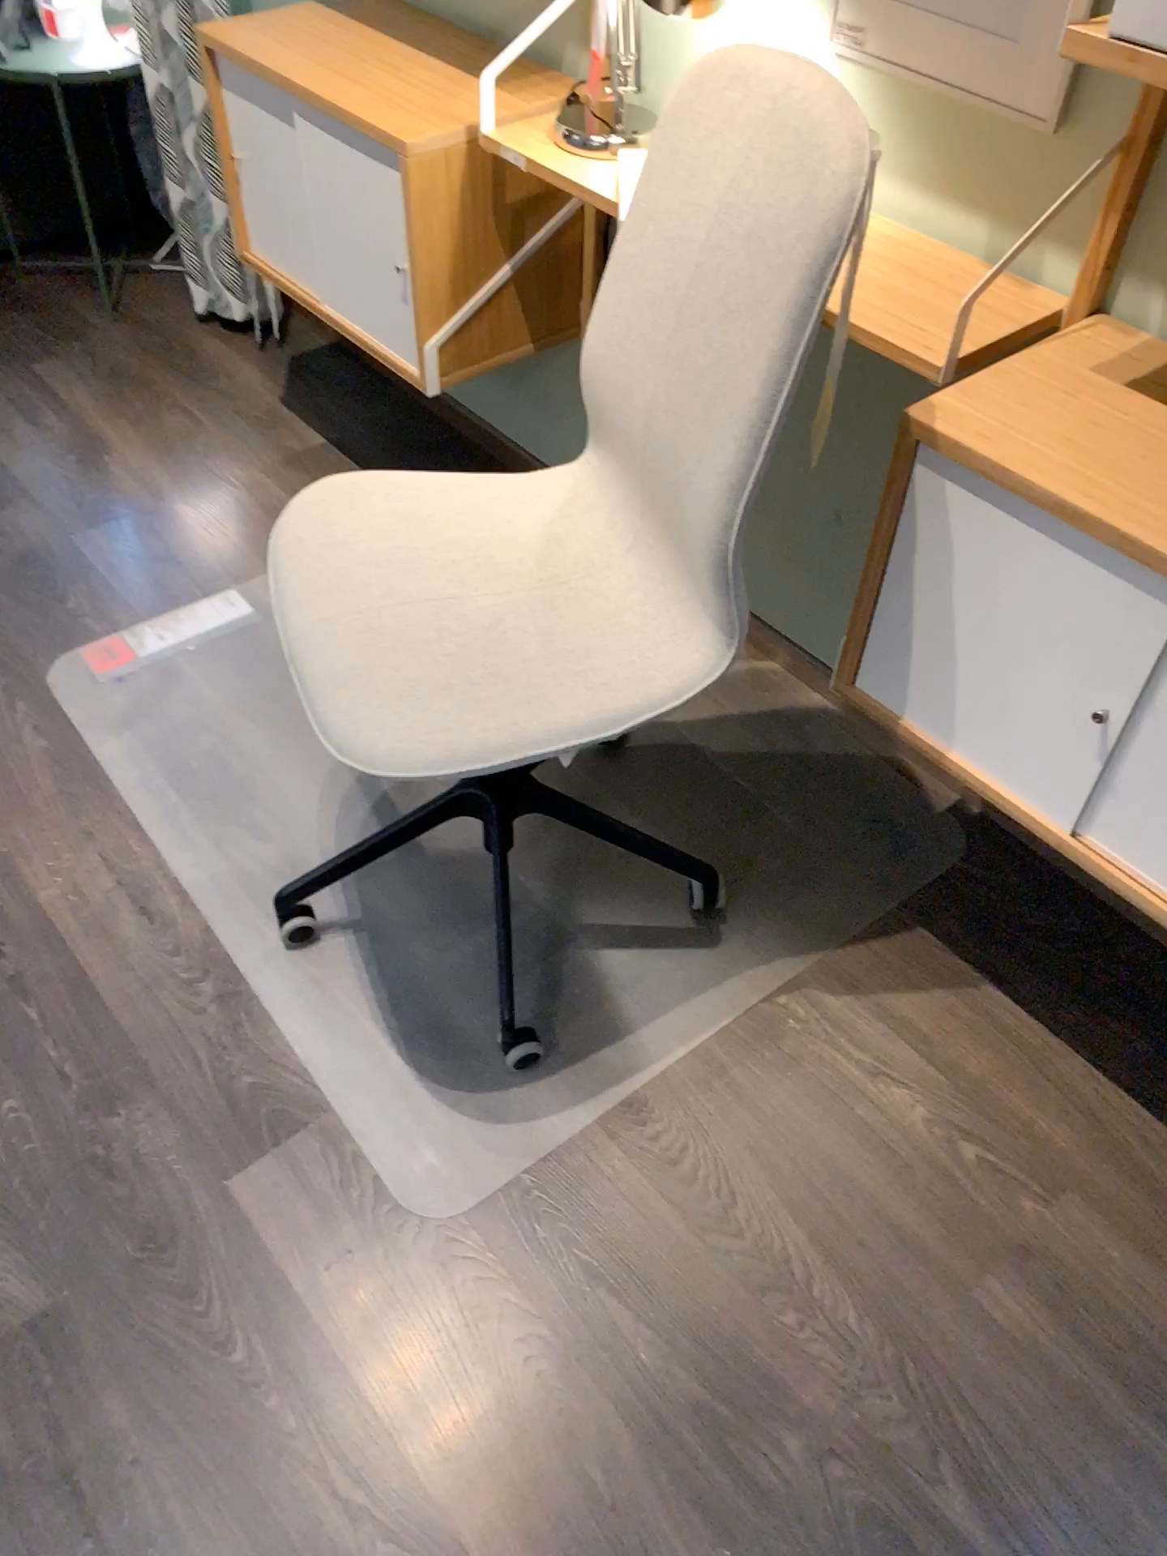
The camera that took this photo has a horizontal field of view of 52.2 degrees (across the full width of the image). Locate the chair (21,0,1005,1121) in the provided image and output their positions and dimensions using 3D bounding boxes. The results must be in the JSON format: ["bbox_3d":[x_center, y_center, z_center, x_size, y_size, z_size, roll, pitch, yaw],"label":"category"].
[{"bbox_3d":[-0.123,-0.221,1.287,0.620,0.965,0.623,-13,49,-14],"label":"chair"}]
